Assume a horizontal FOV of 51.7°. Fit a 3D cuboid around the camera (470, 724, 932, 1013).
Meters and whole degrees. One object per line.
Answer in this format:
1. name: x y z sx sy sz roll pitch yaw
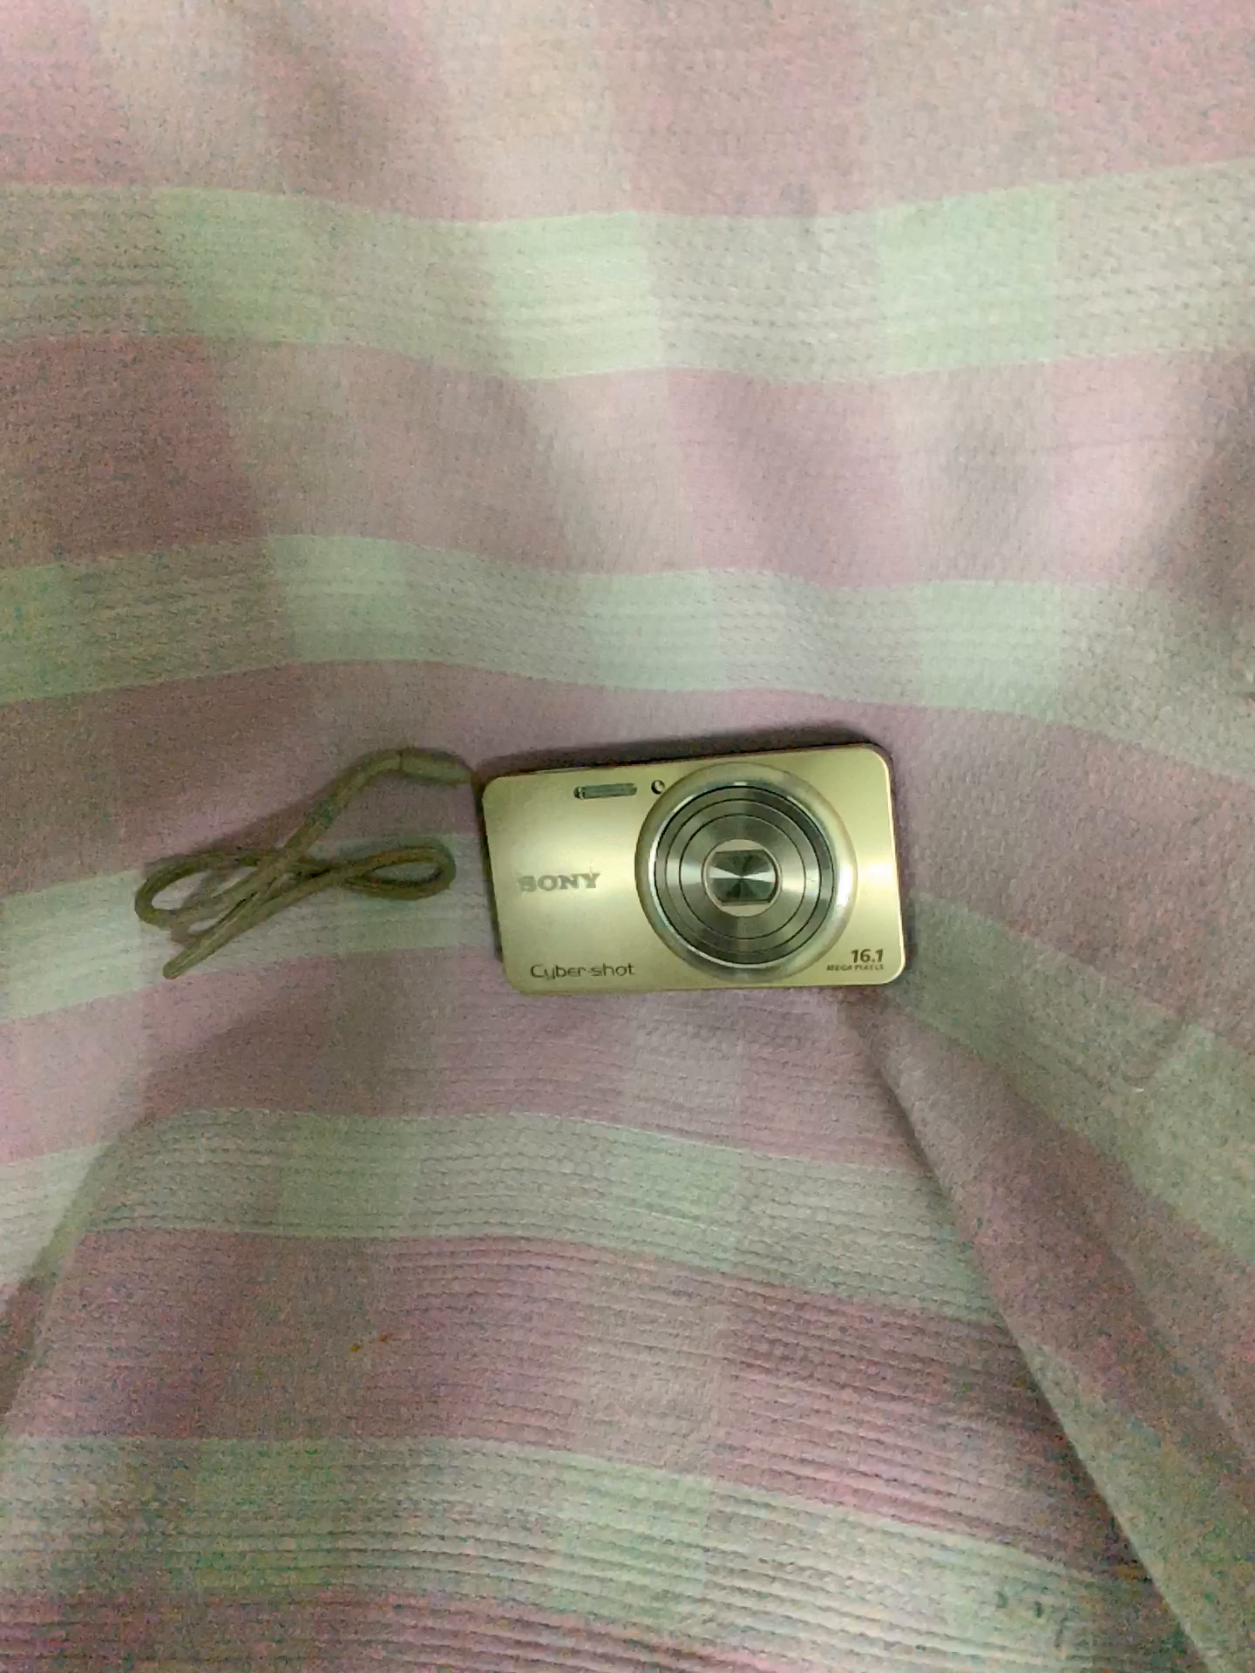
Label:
1. camera: 0.016 0.007 0.282 0.092 0.027 0.053 -5 98 18
